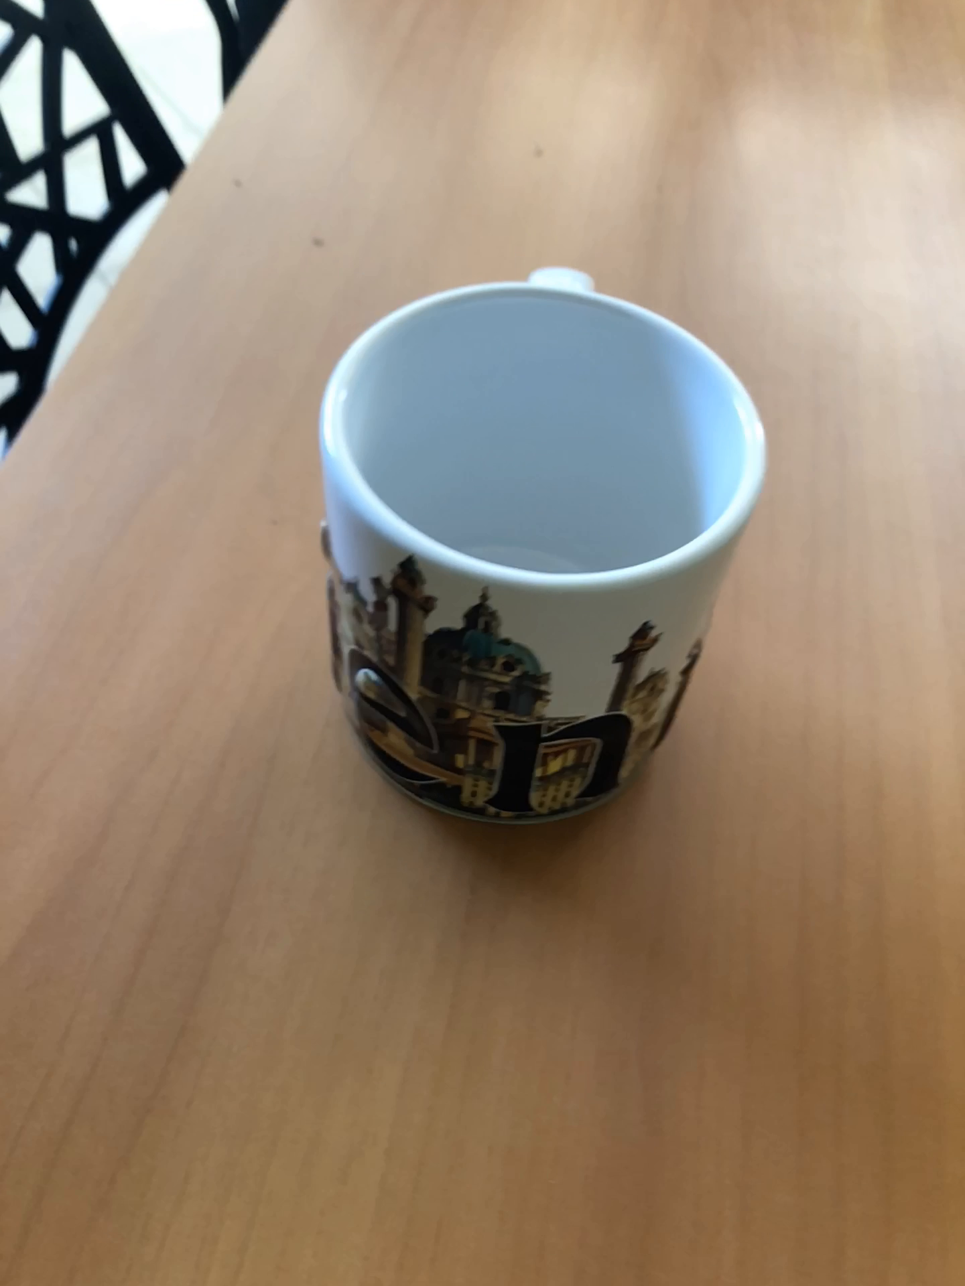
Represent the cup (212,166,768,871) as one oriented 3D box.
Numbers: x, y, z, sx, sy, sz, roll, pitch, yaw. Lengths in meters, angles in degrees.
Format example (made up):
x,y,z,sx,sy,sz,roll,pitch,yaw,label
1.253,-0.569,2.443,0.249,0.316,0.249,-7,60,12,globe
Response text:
x,y,z,sx,sy,sz,roll,pitch,yaw,label
0.009,-0.036,0.296,0.110,0.099,0.151,9,54,2,cup
